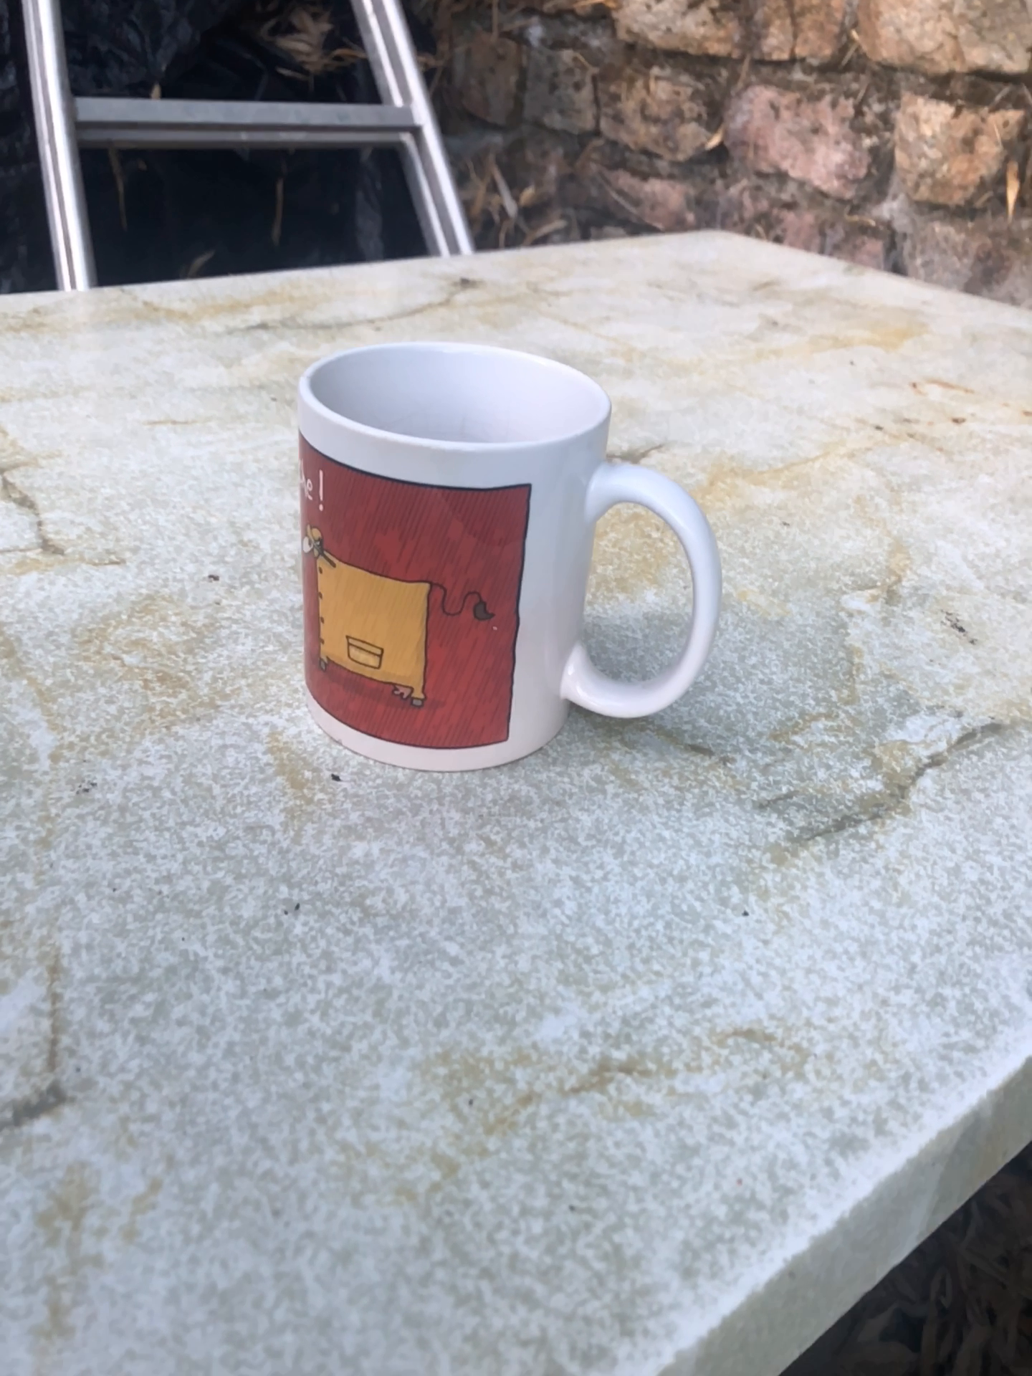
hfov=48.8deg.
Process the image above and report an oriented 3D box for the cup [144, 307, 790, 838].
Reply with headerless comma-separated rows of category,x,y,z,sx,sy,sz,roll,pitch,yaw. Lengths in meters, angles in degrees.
cup,-0.008,-0.036,0.289,0.129,0.083,0.087,13,34,14
